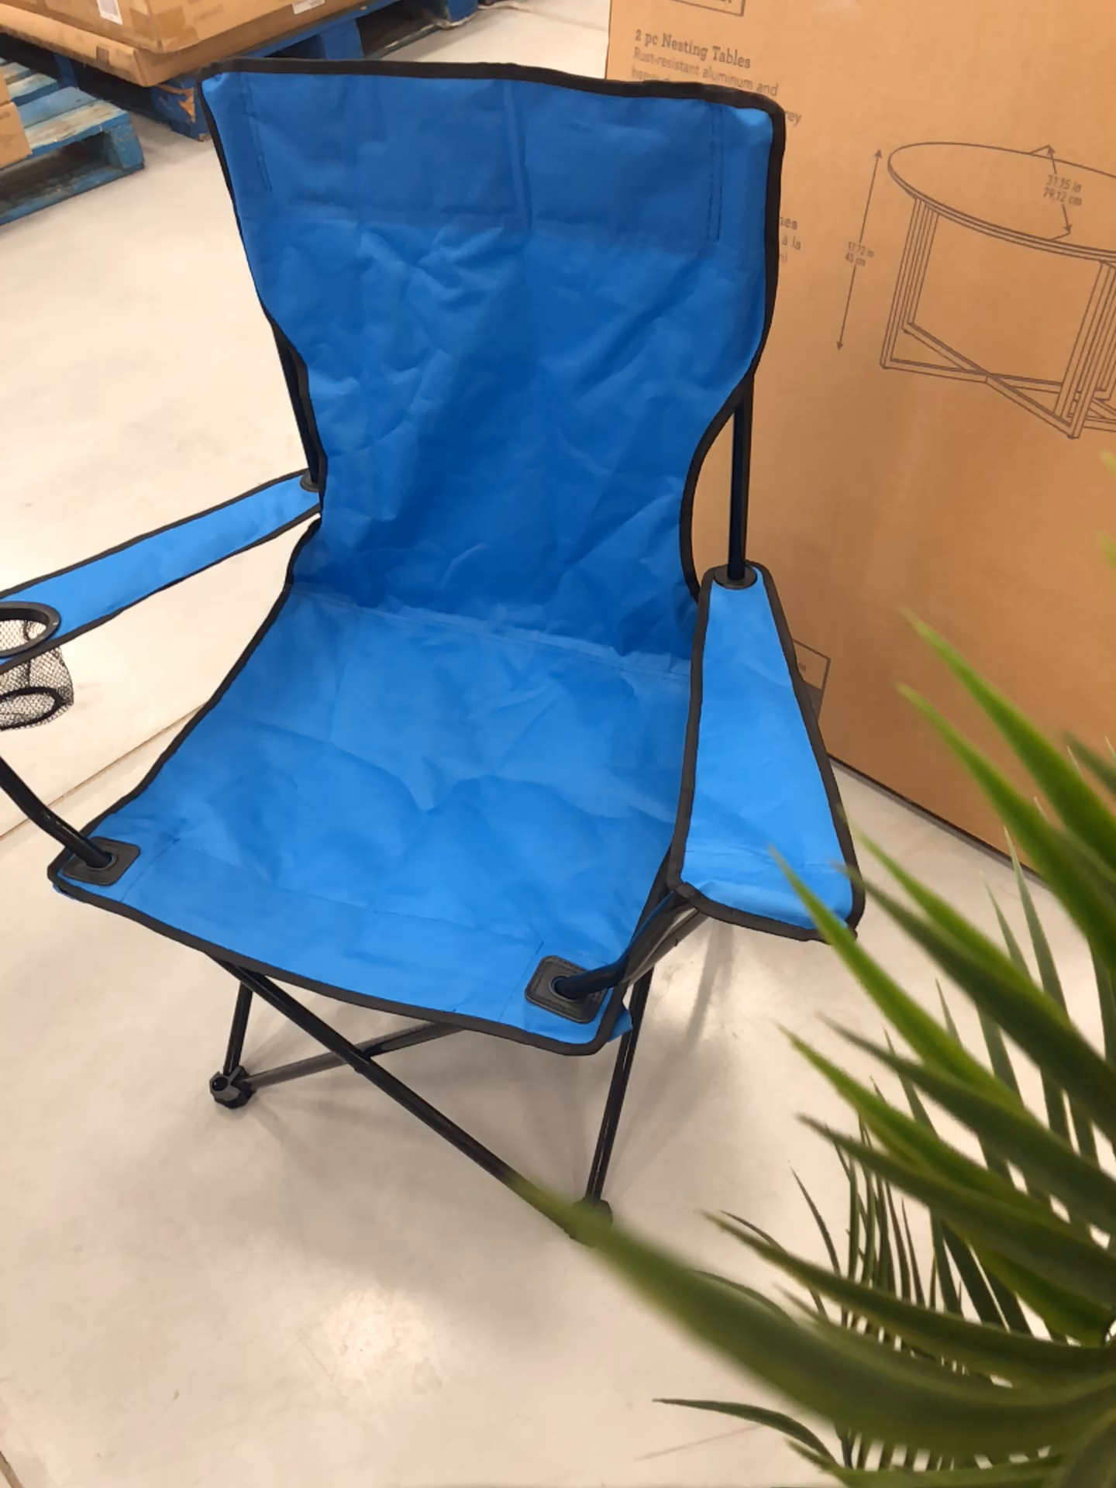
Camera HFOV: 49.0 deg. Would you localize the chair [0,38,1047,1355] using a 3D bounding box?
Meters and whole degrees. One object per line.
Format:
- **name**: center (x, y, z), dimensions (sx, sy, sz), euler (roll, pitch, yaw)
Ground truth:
- **chair**: center (-0.104, -0.042, 1.093), dimensions (0.791, 0.837, 0.622), euler (13, 50, 17)
